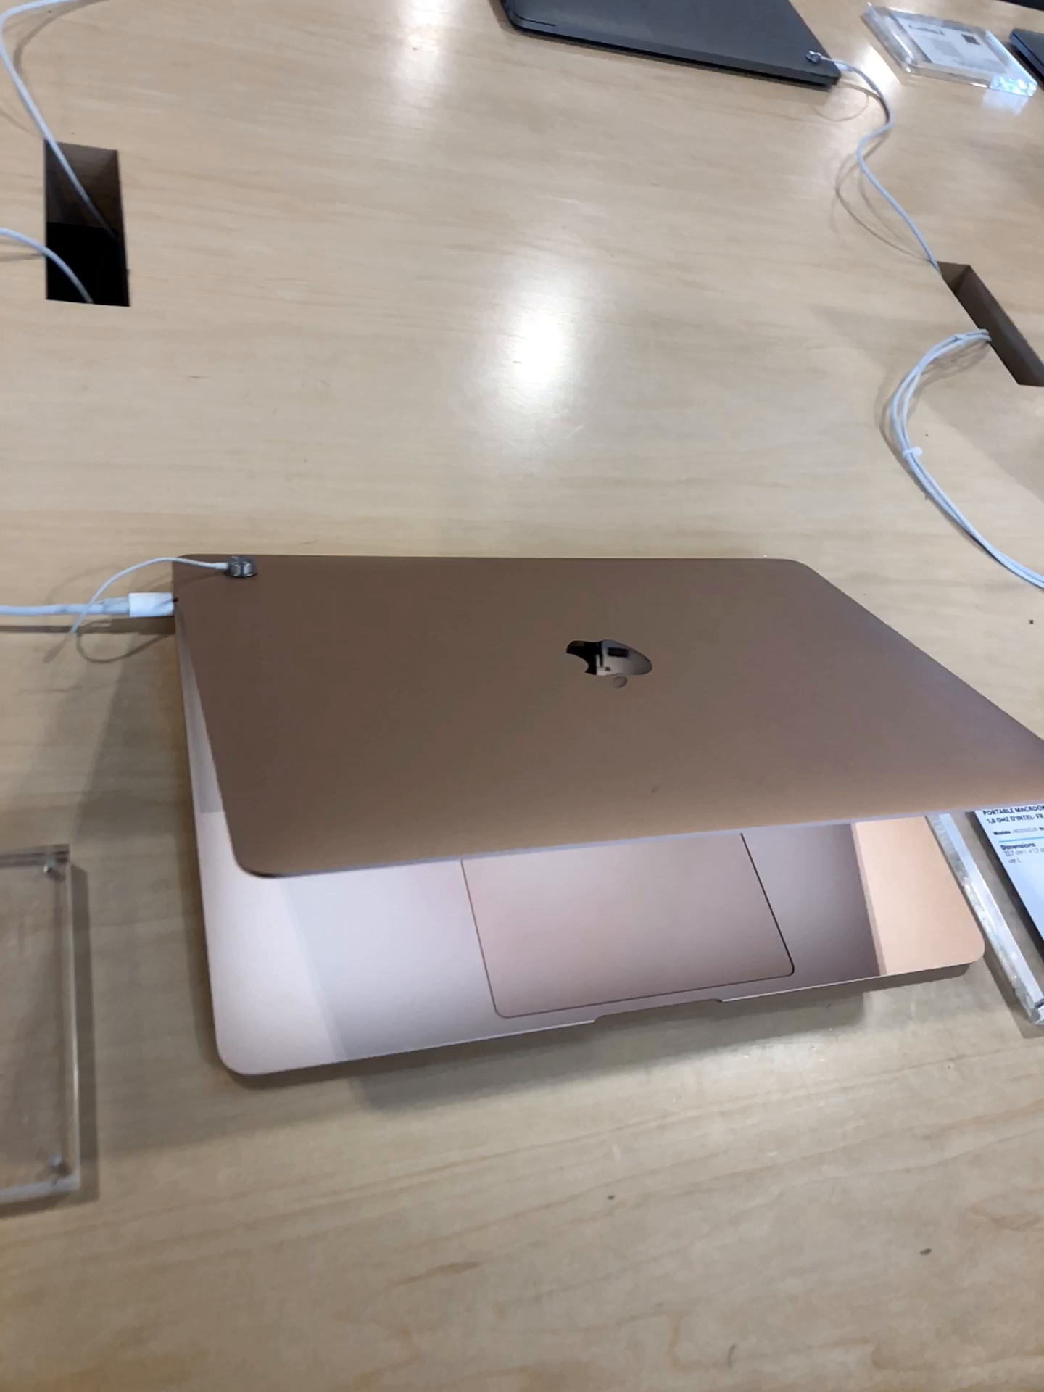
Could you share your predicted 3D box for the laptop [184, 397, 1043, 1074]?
[{"bbox_3d":[0.033,-0.001,0.422,0.288,0.093,0.203,-3,54,-21],"label":"laptop"}]
